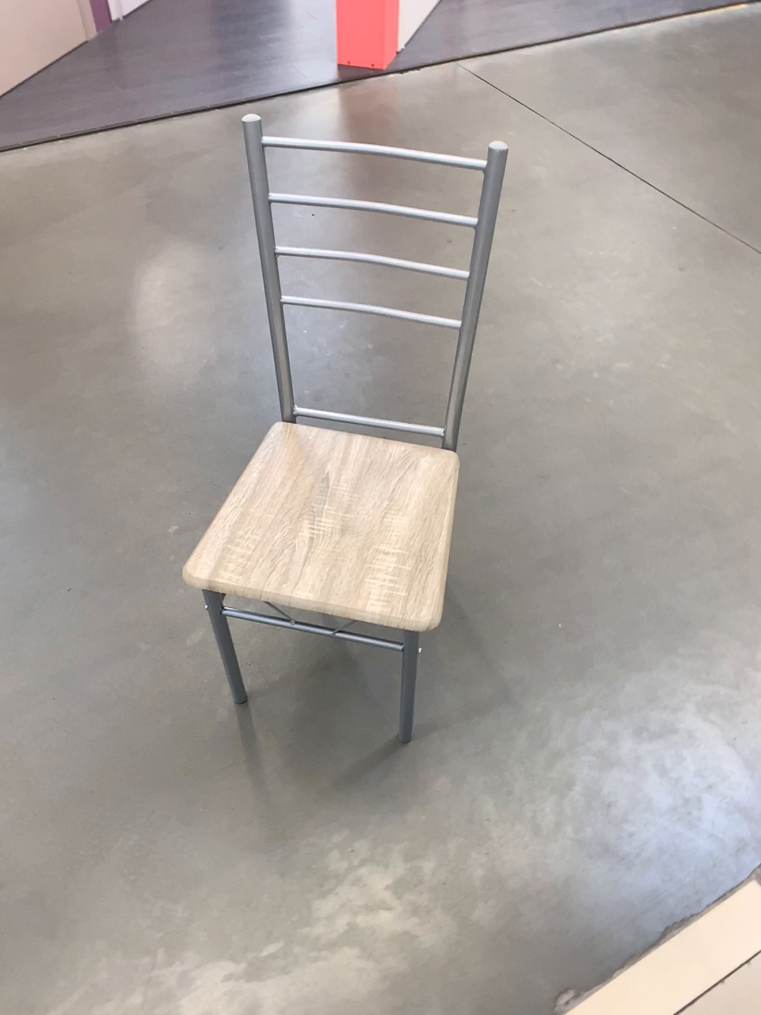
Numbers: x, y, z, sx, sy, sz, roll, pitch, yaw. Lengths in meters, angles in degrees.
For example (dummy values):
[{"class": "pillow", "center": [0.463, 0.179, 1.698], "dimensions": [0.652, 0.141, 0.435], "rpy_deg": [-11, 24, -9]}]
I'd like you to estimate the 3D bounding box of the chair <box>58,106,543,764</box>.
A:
[{"class": "chair", "center": [-0.056, -0.056, 1.173], "dimensions": [0.410, 0.837, 0.472], "rpy_deg": [11, 49, 9]}]
